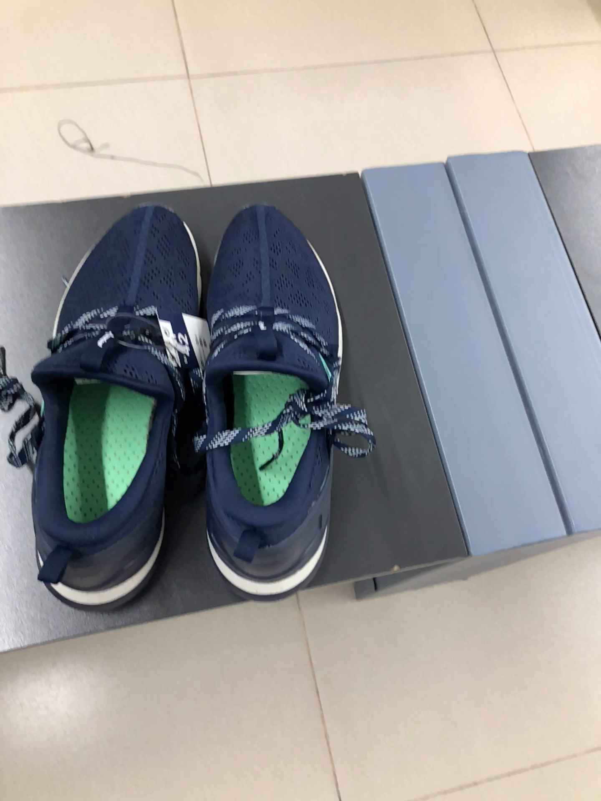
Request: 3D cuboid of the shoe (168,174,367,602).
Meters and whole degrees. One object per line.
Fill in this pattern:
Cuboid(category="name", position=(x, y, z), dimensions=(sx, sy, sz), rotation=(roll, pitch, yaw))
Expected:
Cuboid(category="shoe", position=(-0.024, -0.003, 0.434), dimensions=(0.100, 0.120, 0.251), rotation=(1, 69, -6))

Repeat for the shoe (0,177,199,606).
Cuboid(category="shoe", position=(-0.124, -0.001, 0.432), dimensions=(0.100, 0.120, 0.251), rotation=(1, 69, -6))
